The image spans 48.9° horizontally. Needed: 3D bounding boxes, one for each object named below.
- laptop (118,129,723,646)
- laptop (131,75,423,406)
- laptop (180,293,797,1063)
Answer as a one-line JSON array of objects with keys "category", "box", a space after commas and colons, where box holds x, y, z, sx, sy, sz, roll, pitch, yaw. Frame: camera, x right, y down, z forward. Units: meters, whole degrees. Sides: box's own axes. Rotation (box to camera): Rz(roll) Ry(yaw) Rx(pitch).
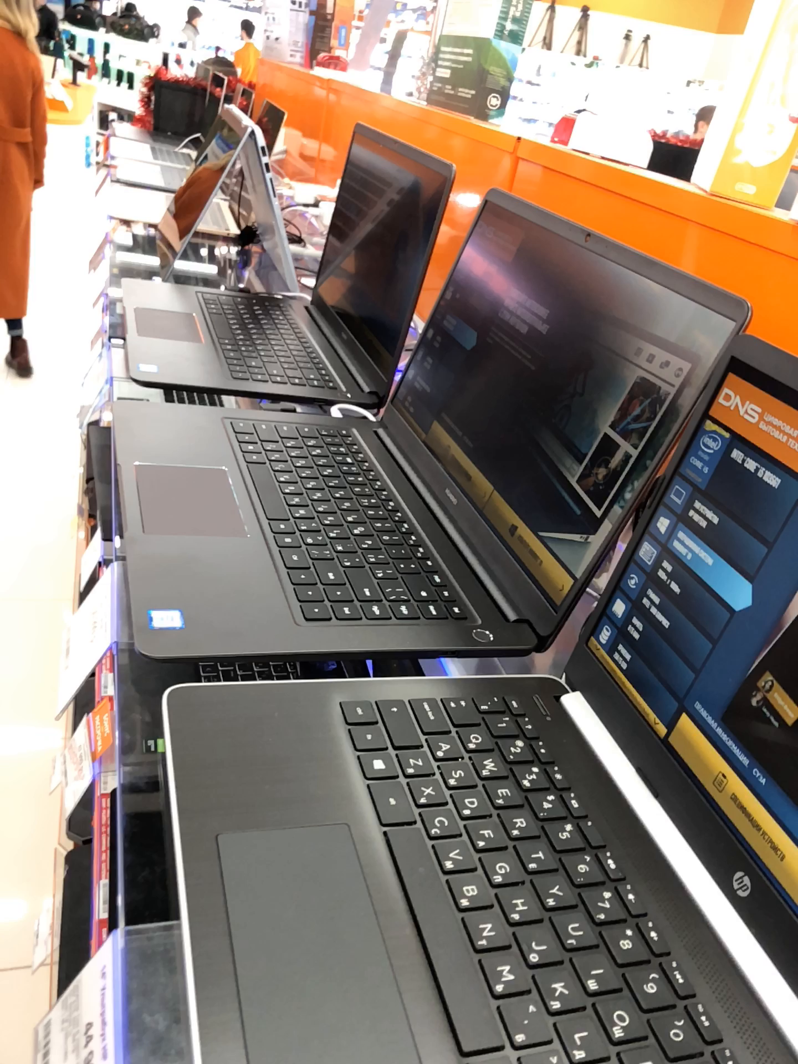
[{"category": "laptop", "box": [-0.031, -0.115, 0.600, 0.287, 0.212, 0.339, 1, 29, -21]}, {"category": "laptop", "box": [-0.152, -0.315, 0.927, 0.241, 0.230, 0.357, 2, 28, -22]}, {"category": "laptop", "box": [0.061, 0.053, 0.301, 0.243, 0.195, 0.270, 3, 24, -17]}]
